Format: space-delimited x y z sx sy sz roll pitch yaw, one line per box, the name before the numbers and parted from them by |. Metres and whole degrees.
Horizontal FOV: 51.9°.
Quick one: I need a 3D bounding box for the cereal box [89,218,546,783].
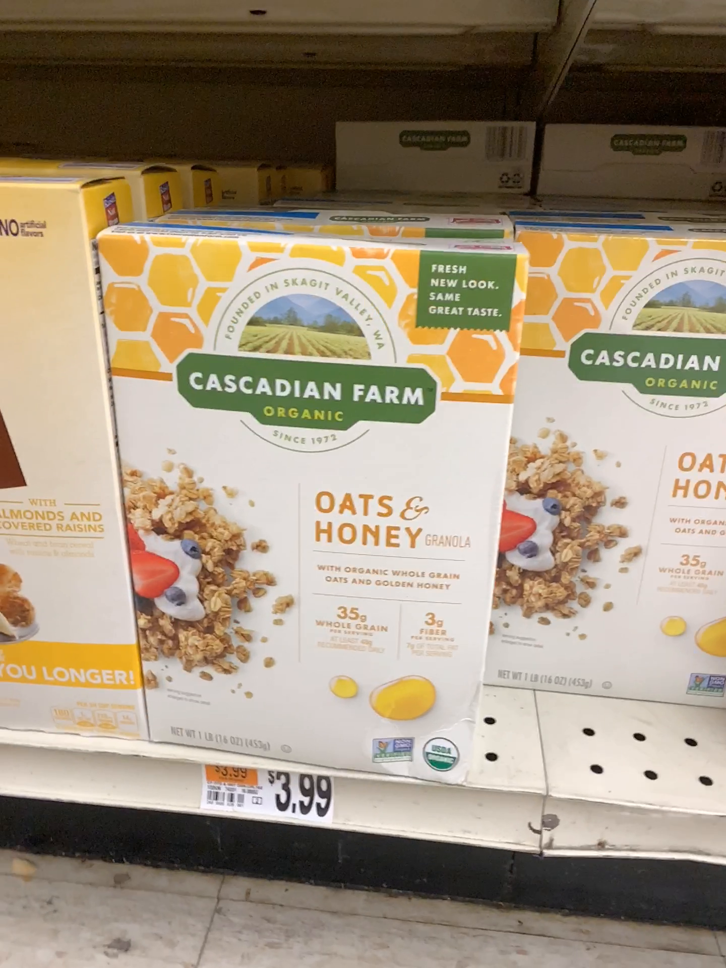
cereal box | -0.017 0.010 0.328 0.160 0.229 0.060 5 23 8
